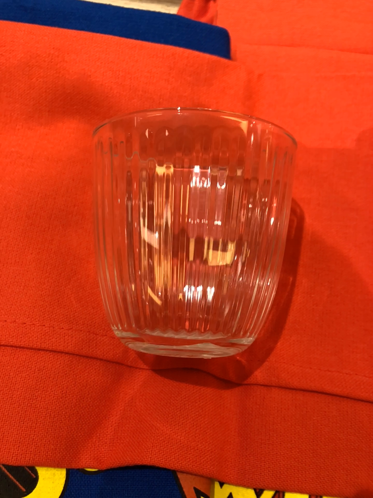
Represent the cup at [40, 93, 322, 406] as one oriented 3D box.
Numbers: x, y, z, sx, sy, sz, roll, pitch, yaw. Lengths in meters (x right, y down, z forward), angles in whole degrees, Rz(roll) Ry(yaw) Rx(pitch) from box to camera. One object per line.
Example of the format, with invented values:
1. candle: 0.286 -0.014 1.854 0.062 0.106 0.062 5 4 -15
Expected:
1. cup: -0.002 0.001 0.159 0.080 0.060 0.090 4 89 -3
